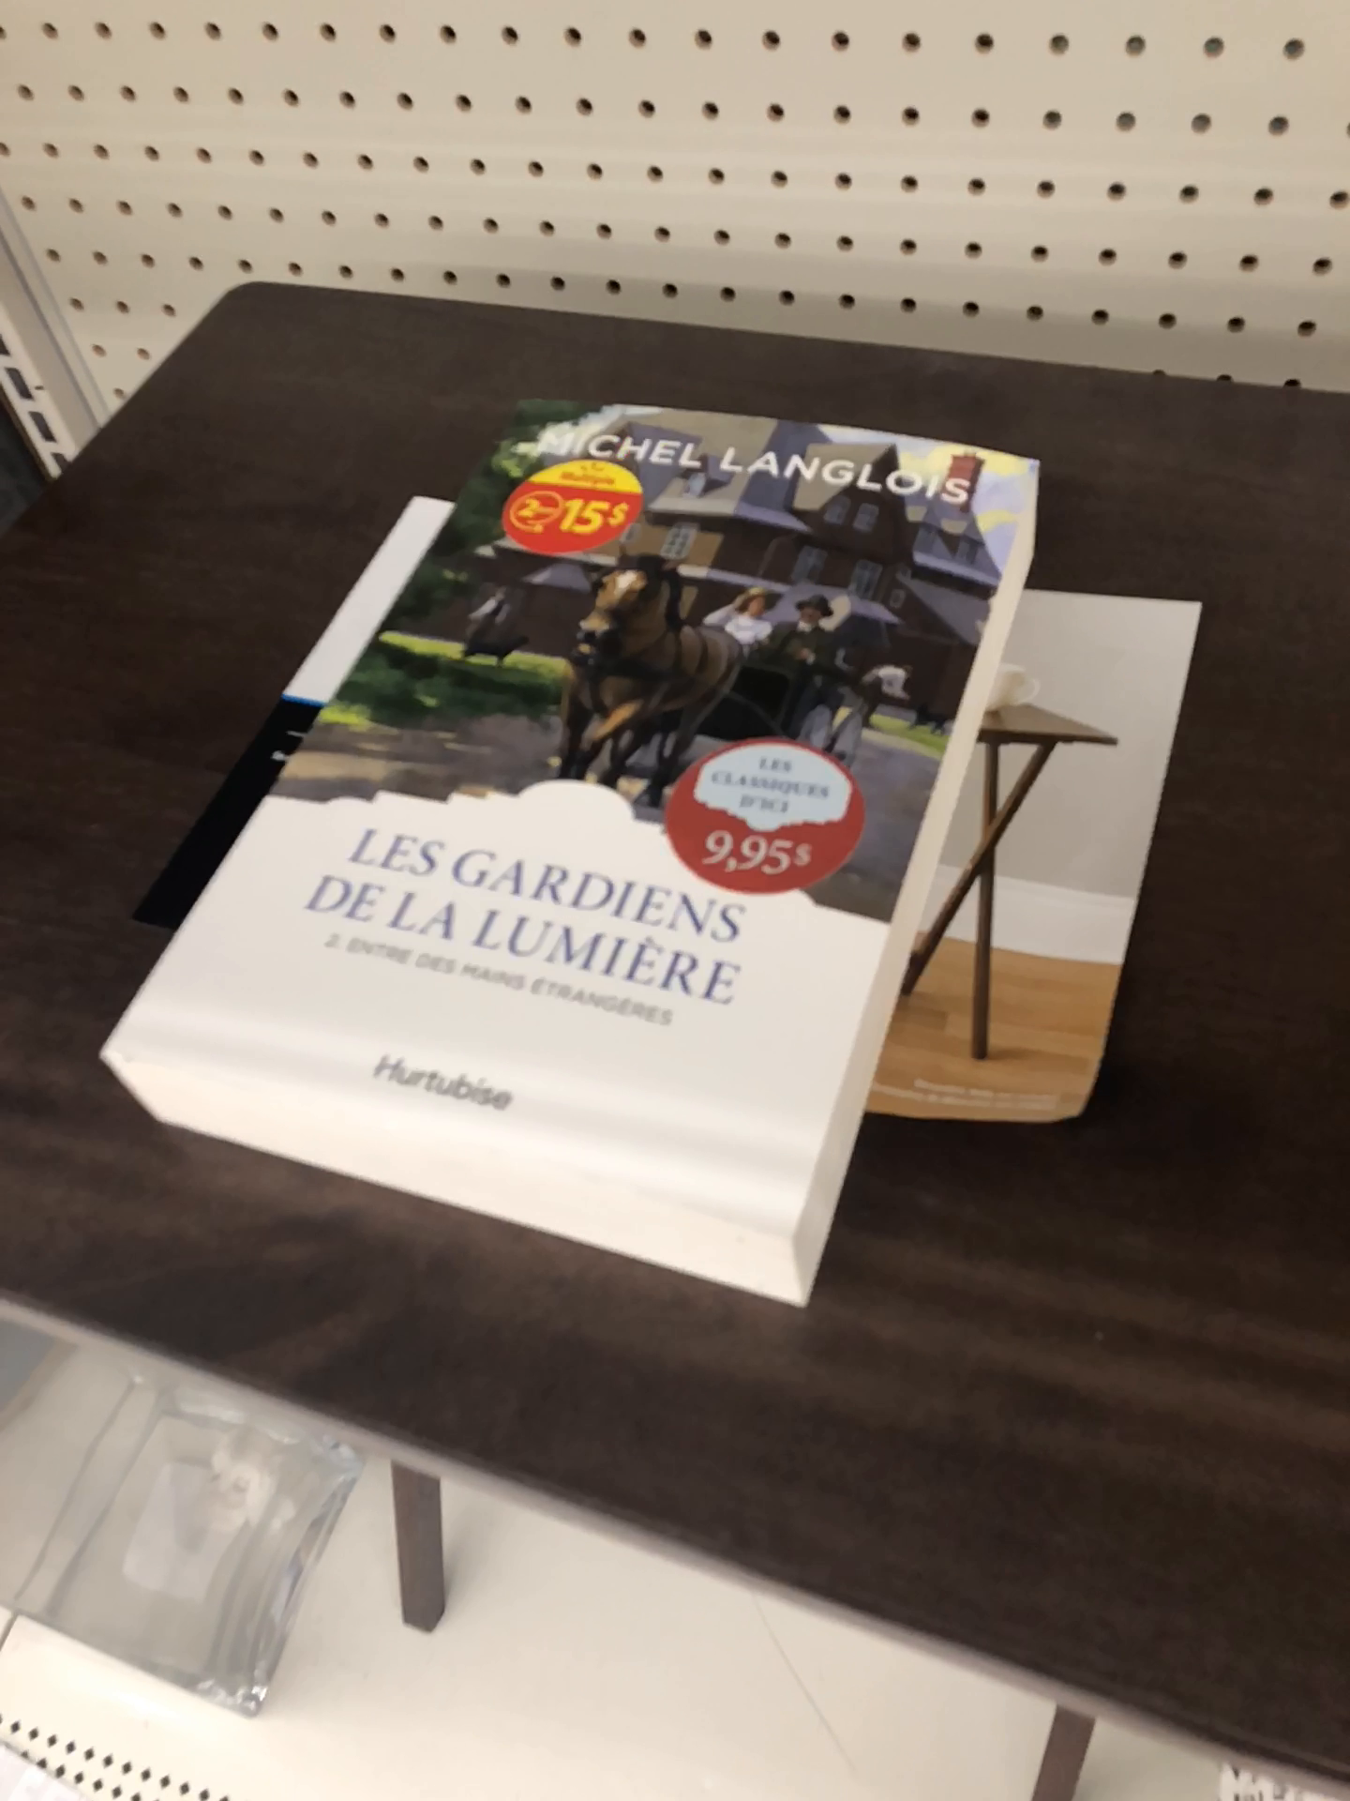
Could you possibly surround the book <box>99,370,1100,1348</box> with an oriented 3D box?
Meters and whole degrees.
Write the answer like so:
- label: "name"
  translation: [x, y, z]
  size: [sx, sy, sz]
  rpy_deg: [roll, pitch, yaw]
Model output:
- label: "book"
  translation: [-0.002, -0.033, 0.357]
  size: [0.158, 0.039, 0.234]
  rpy_deg: [12, 56, 16]
